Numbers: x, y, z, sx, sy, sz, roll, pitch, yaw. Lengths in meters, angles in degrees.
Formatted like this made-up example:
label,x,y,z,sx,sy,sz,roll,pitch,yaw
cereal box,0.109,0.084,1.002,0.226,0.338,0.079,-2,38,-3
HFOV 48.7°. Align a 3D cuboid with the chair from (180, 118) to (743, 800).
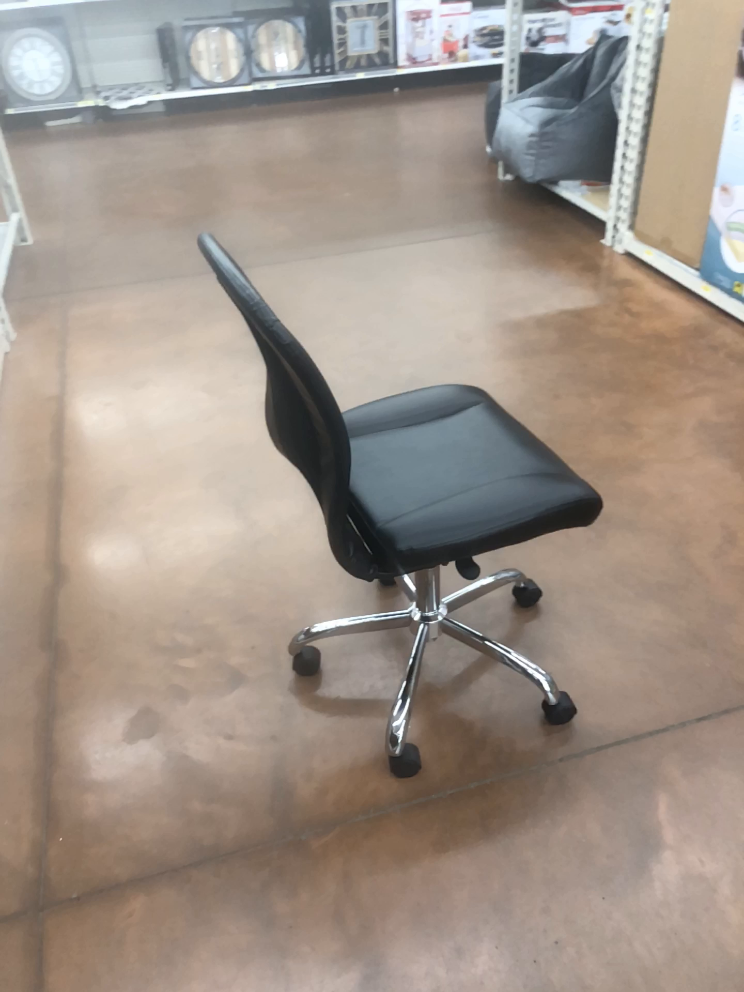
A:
label,x,y,z,sx,sy,sz,roll,pitch,yaw
chair,0.119,-0.109,1.409,0.650,0.817,0.683,-14,36,-14
